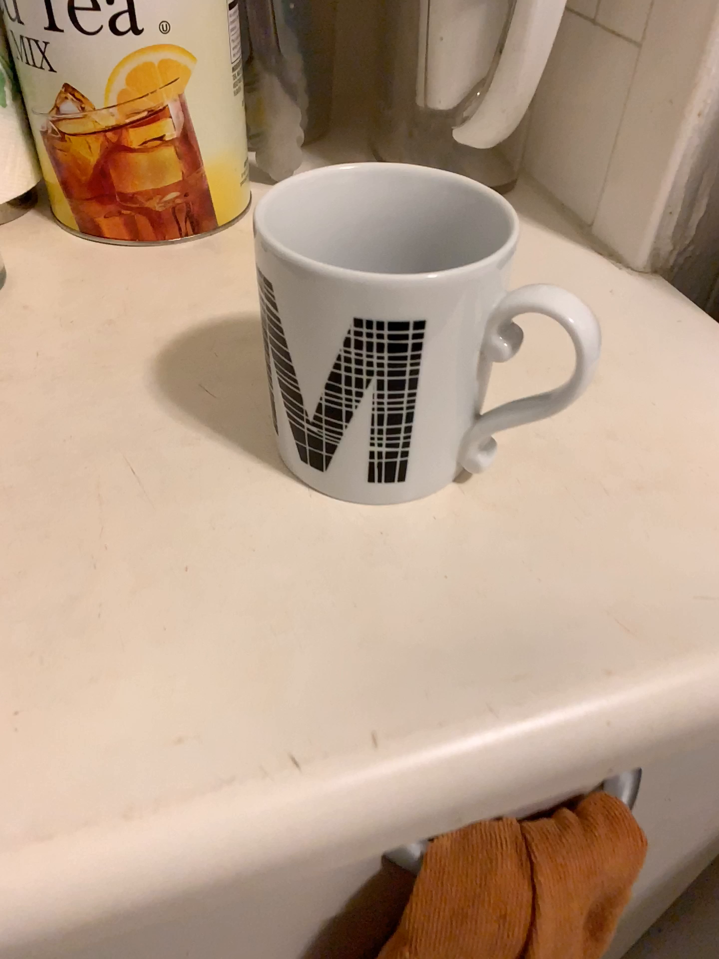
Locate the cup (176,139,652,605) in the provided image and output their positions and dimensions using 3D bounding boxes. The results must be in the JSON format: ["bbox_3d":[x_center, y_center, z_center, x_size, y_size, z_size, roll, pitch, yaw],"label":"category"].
[{"bbox_3d":[0.019,-0.047,0.287,0.130,0.109,0.100,23,46,19],"label":"cup"}]

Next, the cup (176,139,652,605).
[{"bbox_3d":[0.019,-0.047,0.287,0.130,0.109,0.100,23,46,19],"label":"cup"}]
